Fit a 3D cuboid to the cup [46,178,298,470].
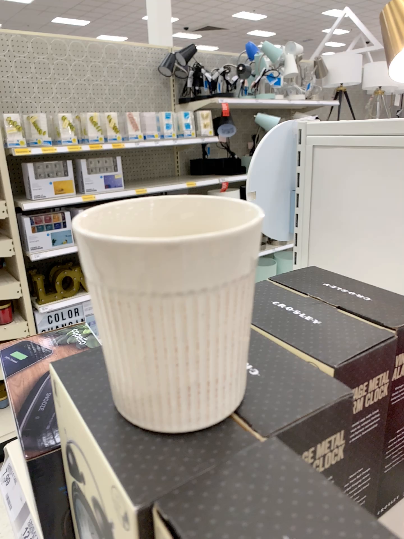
[{"bbox_3d":[-0.022,0.013,0.227,0.084,0.099,0.117,-15,26,-27],"label":"cup"}]
